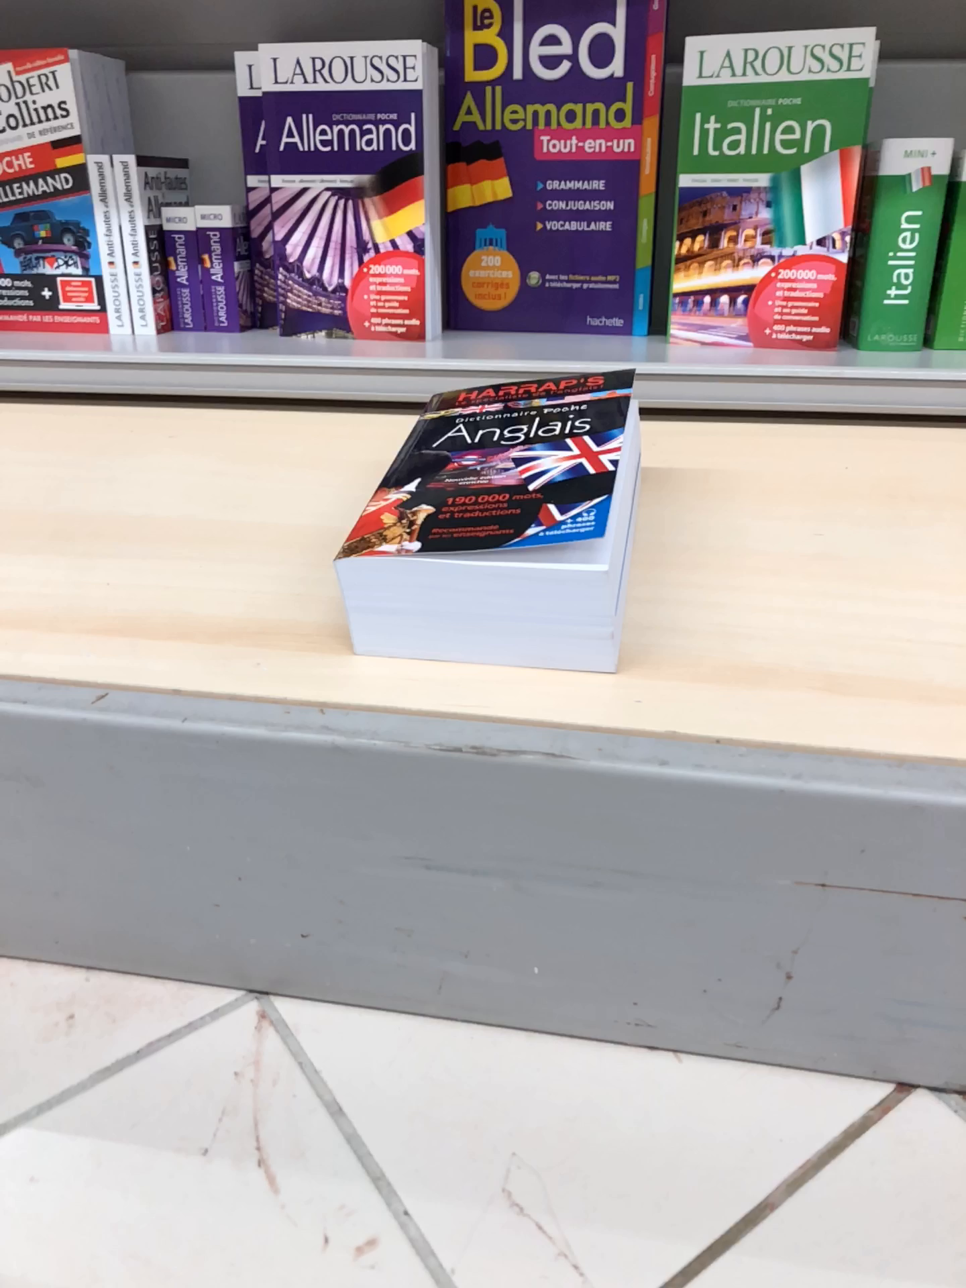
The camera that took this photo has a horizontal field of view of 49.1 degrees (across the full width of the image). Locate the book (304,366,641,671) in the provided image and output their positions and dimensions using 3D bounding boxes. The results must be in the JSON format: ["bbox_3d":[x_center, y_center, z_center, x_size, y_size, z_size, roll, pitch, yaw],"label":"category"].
[{"bbox_3d":[0.007,-0.067,0.476,0.115,0.057,0.183,4,33,10],"label":"book"}]
